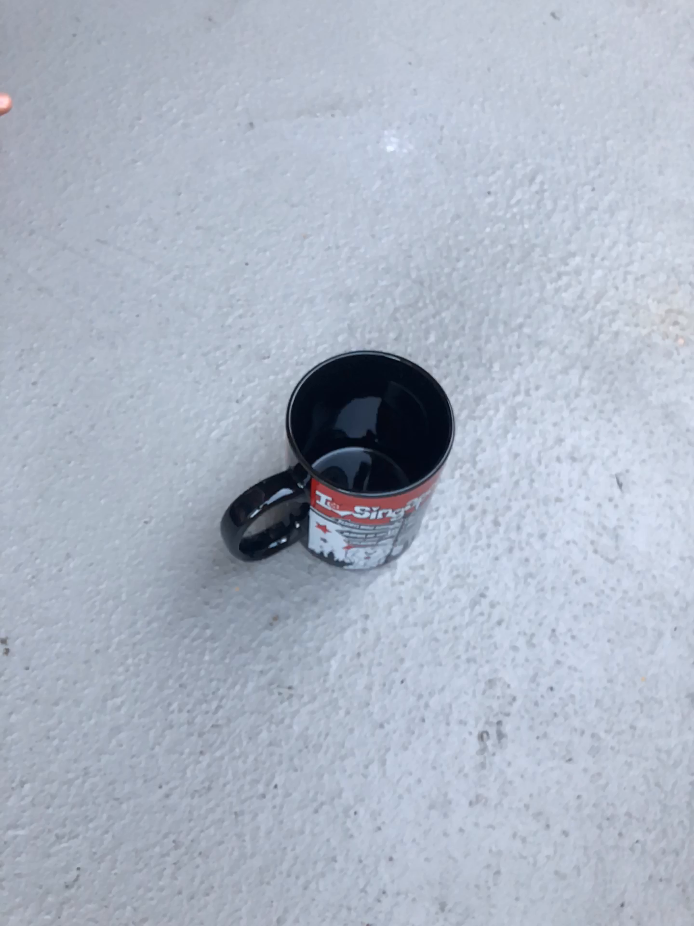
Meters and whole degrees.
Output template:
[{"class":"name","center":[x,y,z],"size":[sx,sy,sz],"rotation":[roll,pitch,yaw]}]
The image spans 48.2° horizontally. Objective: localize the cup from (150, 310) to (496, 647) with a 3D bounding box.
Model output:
[{"class":"cup","center":[-0.013,0.010,0.389],"size":[0.130,0.110,0.080],"rotation":[-26,66,-18]}]
